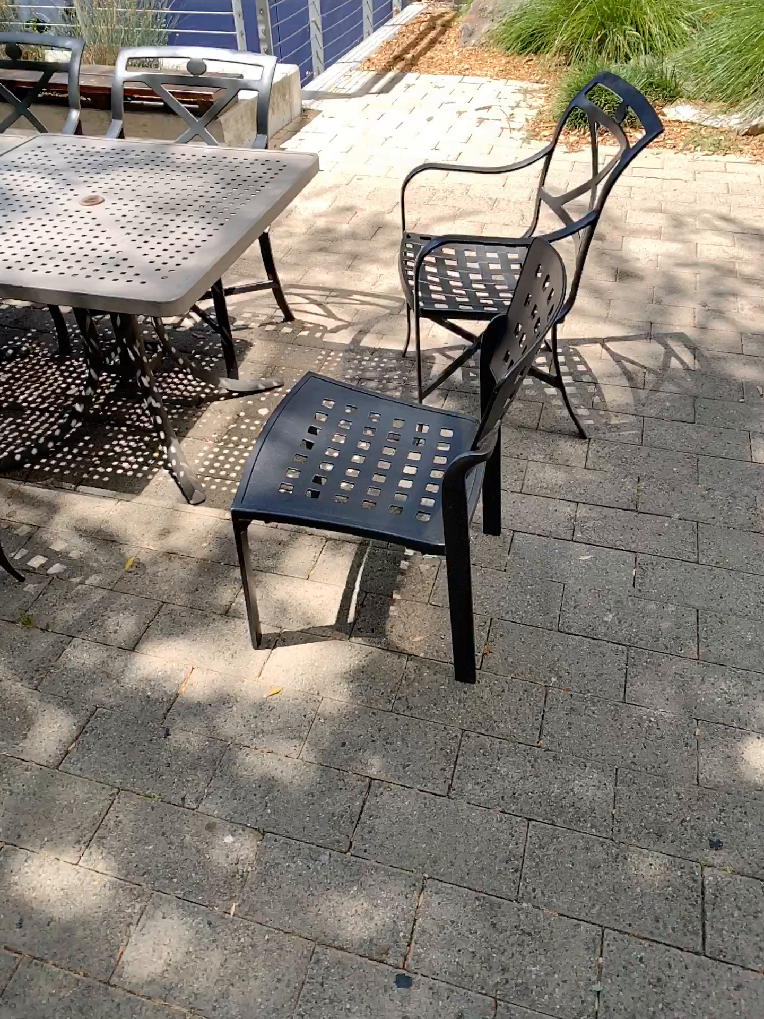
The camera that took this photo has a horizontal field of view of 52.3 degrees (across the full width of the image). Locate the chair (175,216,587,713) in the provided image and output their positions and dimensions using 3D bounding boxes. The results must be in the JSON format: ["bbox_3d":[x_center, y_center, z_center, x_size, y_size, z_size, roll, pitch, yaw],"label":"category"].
[{"bbox_3d":[0.036,-0.080,1.466,0.550,0.716,0.492,8,43,10],"label":"chair"}]
